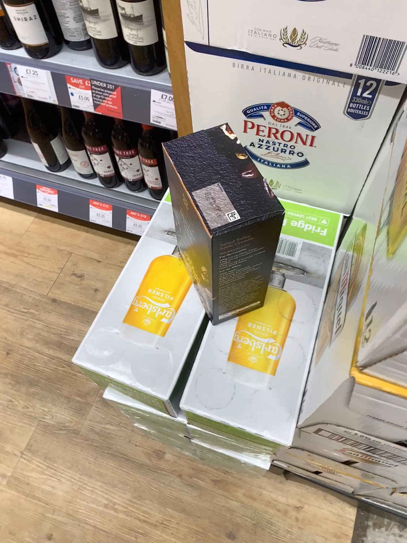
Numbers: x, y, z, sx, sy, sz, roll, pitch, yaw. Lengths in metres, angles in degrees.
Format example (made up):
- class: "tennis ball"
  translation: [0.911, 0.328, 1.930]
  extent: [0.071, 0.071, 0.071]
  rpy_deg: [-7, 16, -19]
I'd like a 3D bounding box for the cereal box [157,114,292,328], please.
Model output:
- class: "cereal box"
  translation: [0.019, -0.043, 0.470]
  extent: [0.080, 0.209, 0.121]
  rpy_deg: [-21, 62, -9]
